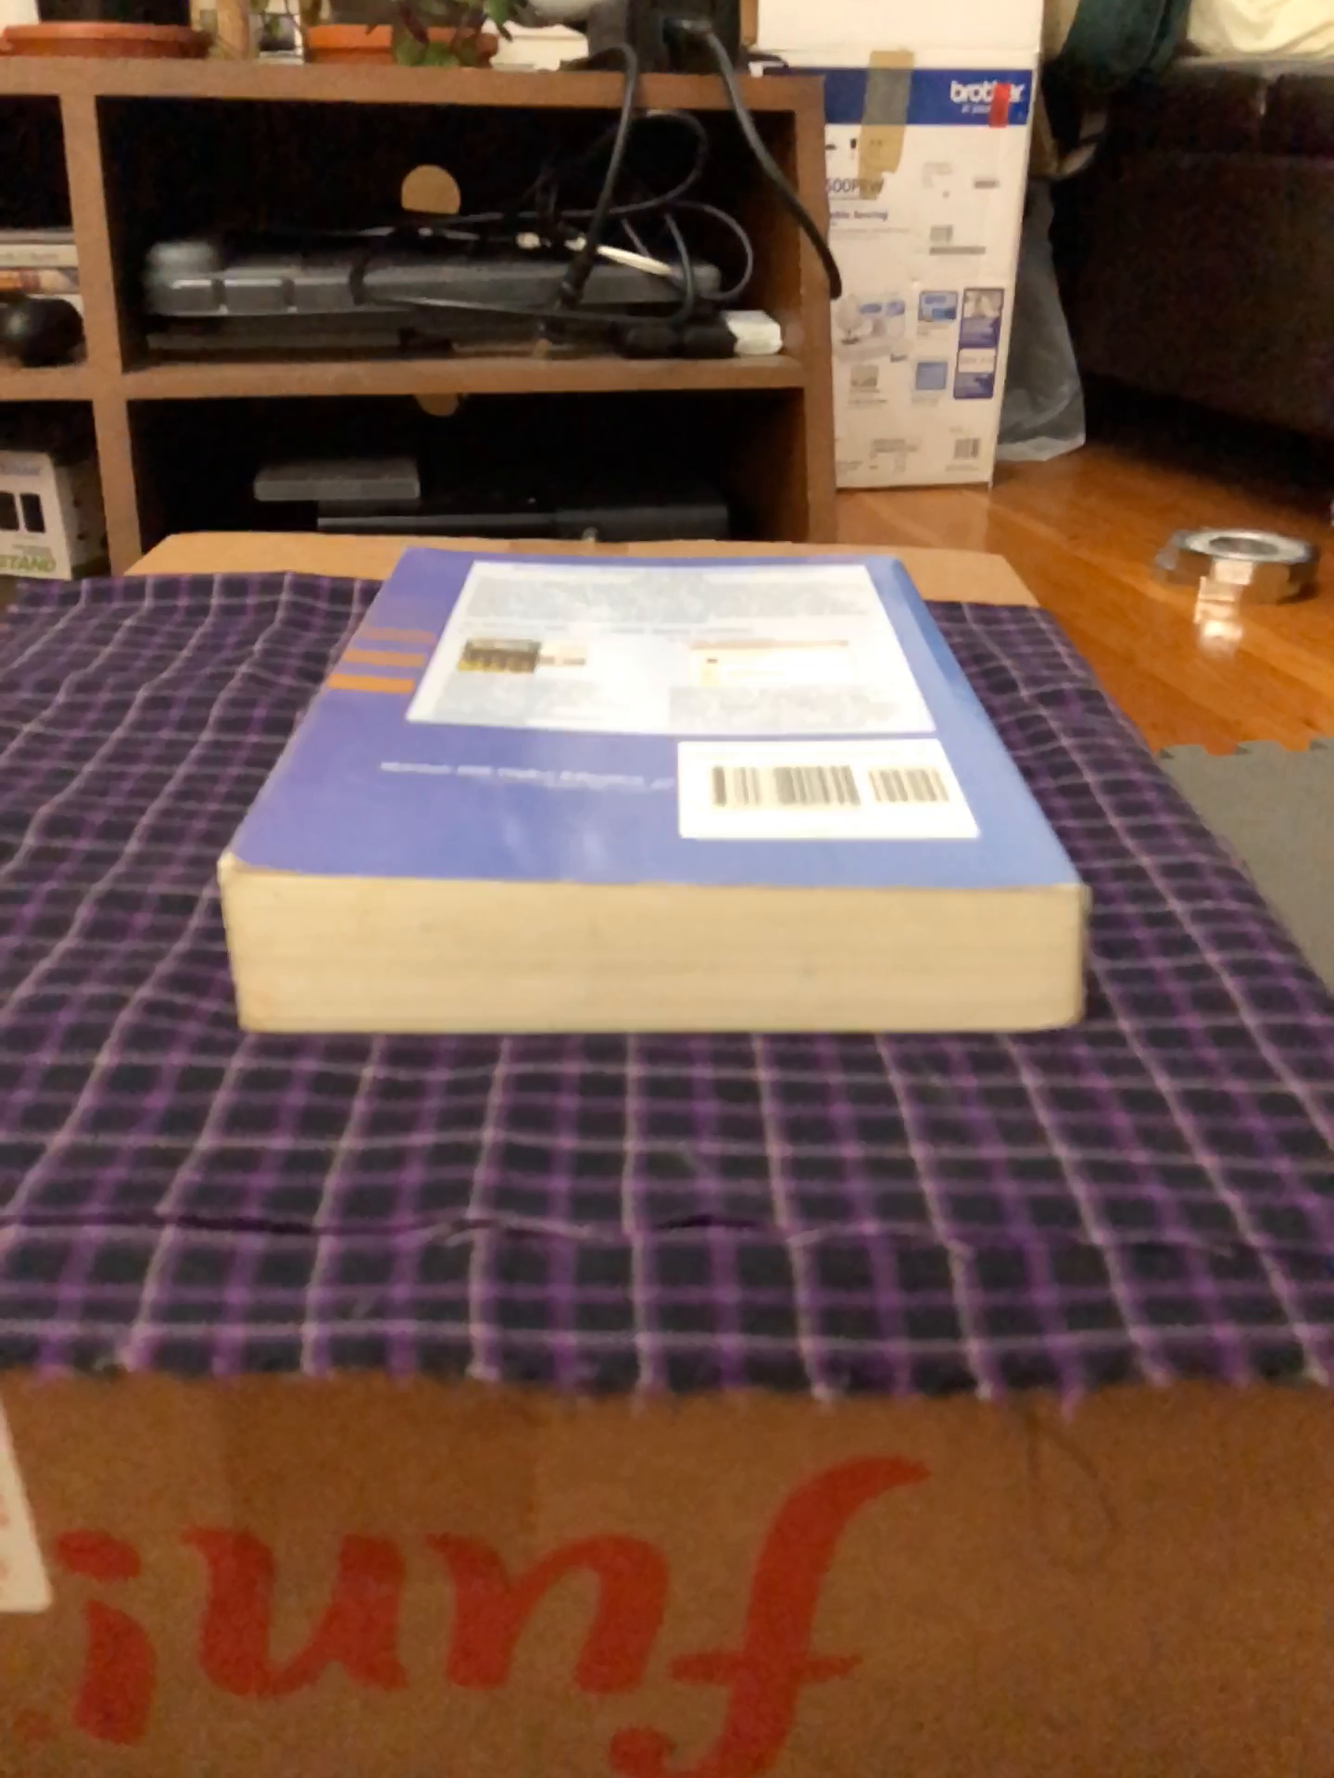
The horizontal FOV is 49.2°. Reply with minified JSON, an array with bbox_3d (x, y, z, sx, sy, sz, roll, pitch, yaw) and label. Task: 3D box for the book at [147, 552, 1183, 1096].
[{"bbox_3d":[-0.003,-0.035,0.369,0.180,0.040,0.241,0,27,-2],"label":"book"}]
